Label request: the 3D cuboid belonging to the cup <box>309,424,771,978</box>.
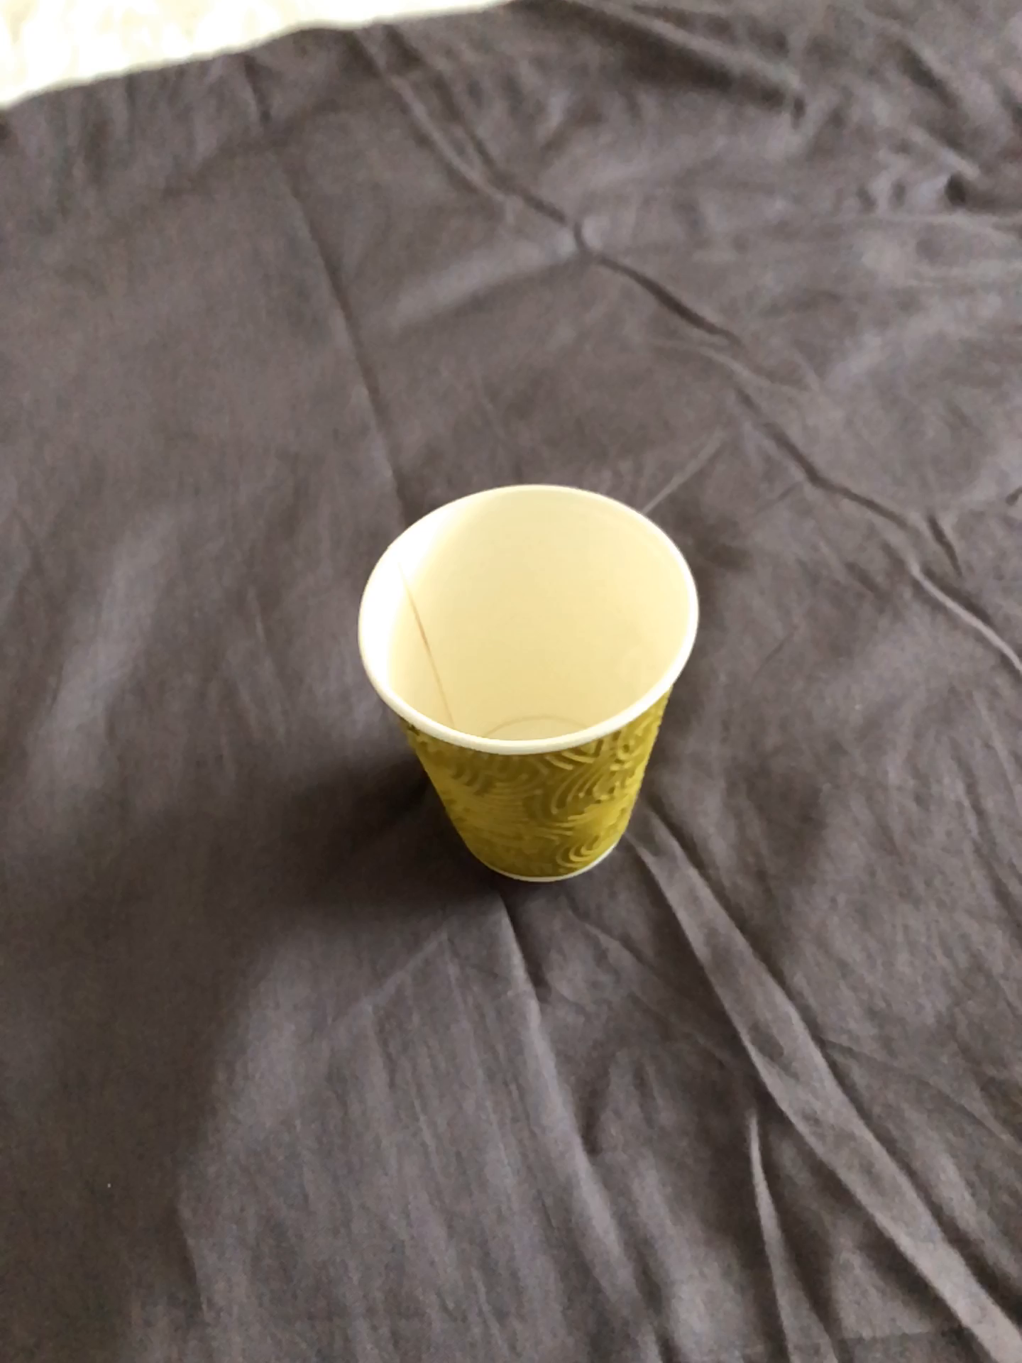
[{"bbox_3d":[0.005,0.008,0.329,0.098,0.101,0.108,-2,55,3],"label":"cup"}]
